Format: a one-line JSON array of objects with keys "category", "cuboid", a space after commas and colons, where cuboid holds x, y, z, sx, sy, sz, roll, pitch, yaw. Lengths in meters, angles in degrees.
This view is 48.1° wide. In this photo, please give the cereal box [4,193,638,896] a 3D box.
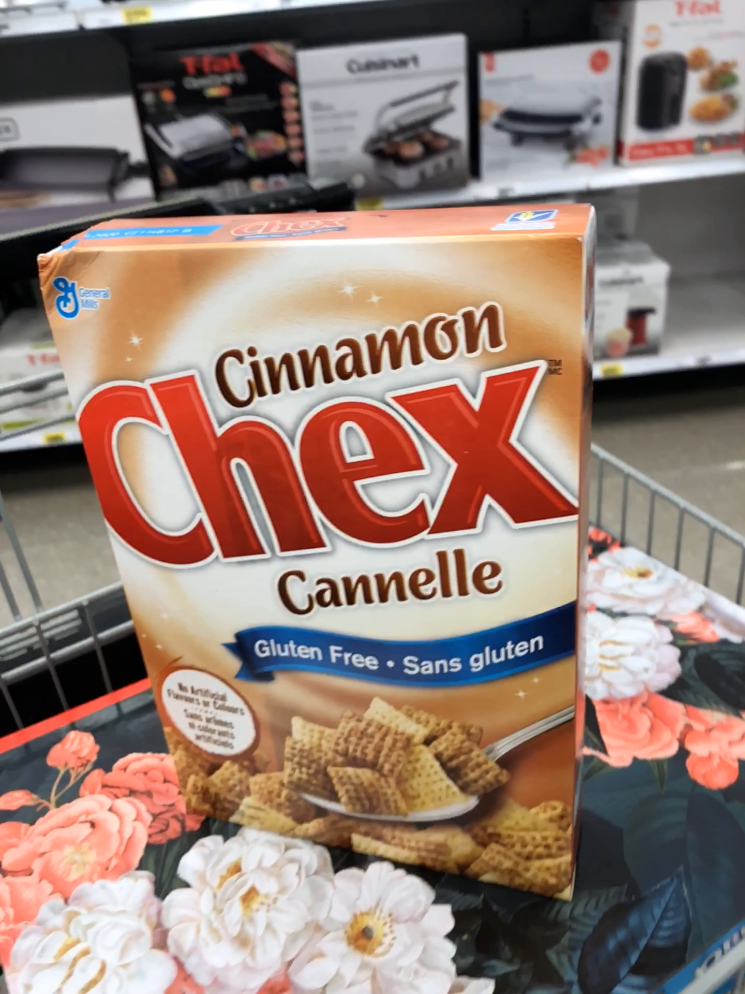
[{"category": "cereal box", "cuboid": [-0.012, 0.022, 0.331, 0.200, 0.259, 0.060, 5, 27, 15]}]
